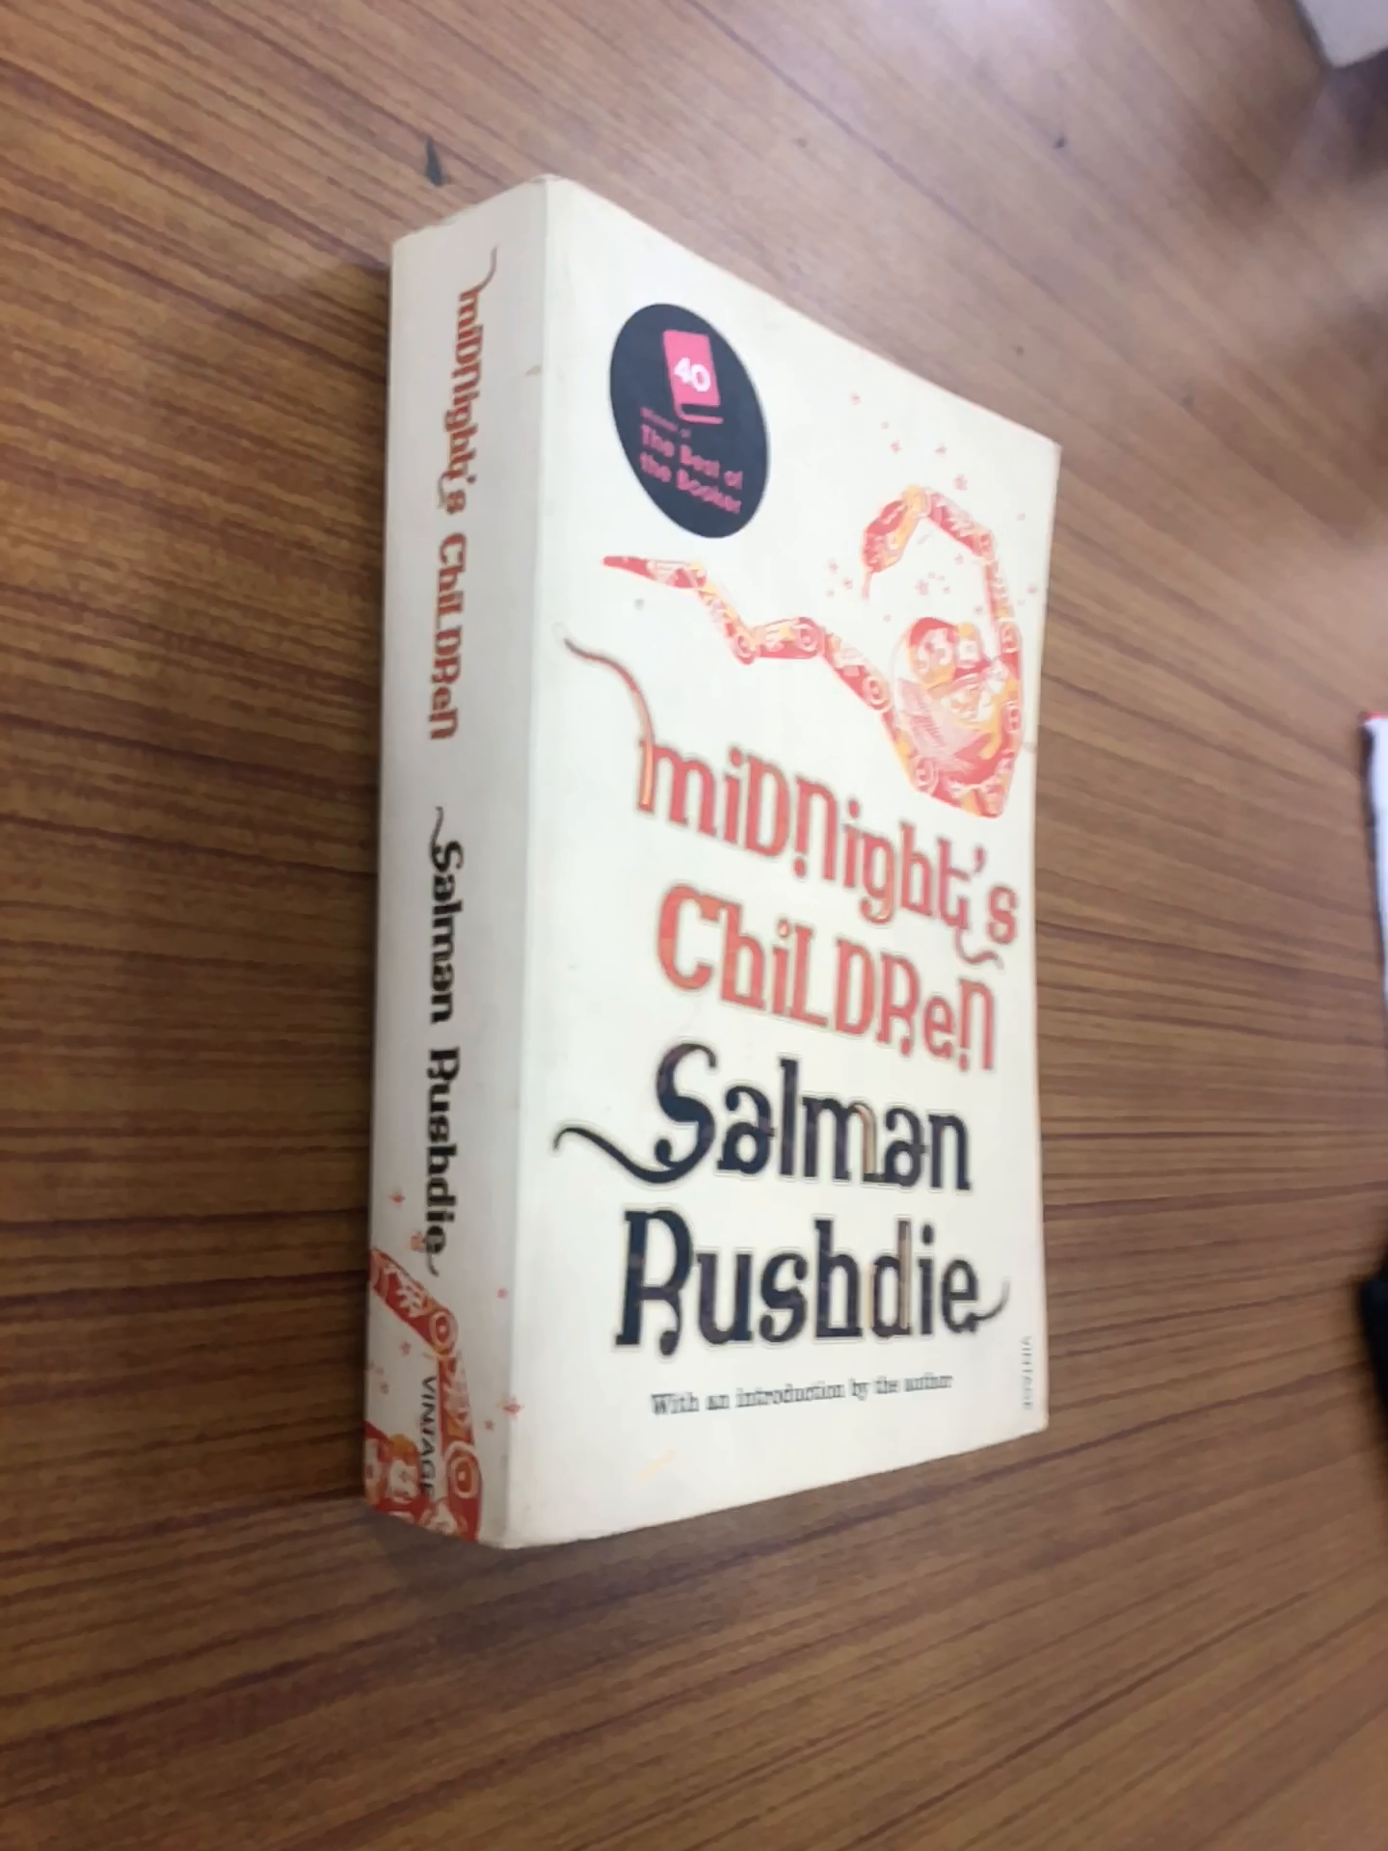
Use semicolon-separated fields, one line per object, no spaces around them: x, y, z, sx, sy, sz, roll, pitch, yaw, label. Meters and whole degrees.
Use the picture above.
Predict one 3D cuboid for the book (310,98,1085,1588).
0.010;-0.009;0.268;0.141;0.040;0.200;7;80;-44;book
